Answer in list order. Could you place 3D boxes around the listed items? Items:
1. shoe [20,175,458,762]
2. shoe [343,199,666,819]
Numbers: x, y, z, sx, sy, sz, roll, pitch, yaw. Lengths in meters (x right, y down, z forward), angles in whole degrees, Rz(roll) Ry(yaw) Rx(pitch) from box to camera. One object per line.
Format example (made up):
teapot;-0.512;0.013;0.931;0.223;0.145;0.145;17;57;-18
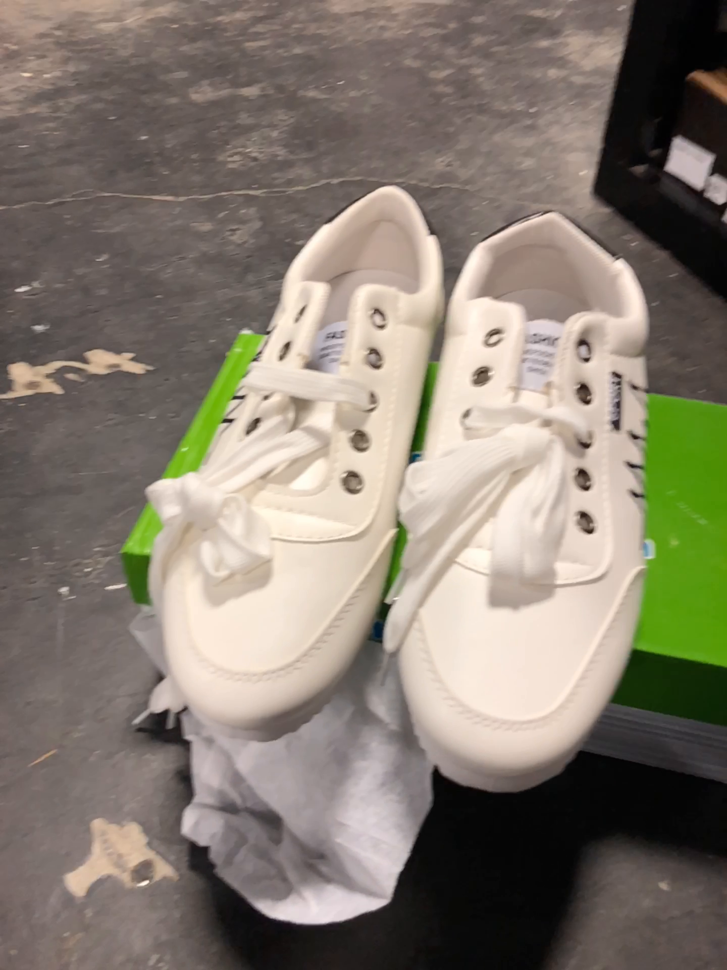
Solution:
shoe;-0.025;-0.036;0.356;0.090;0.079;0.282;6;47;13
shoe;0.074;-0.019;0.347;0.090;0.079;0.282;6;47;13
